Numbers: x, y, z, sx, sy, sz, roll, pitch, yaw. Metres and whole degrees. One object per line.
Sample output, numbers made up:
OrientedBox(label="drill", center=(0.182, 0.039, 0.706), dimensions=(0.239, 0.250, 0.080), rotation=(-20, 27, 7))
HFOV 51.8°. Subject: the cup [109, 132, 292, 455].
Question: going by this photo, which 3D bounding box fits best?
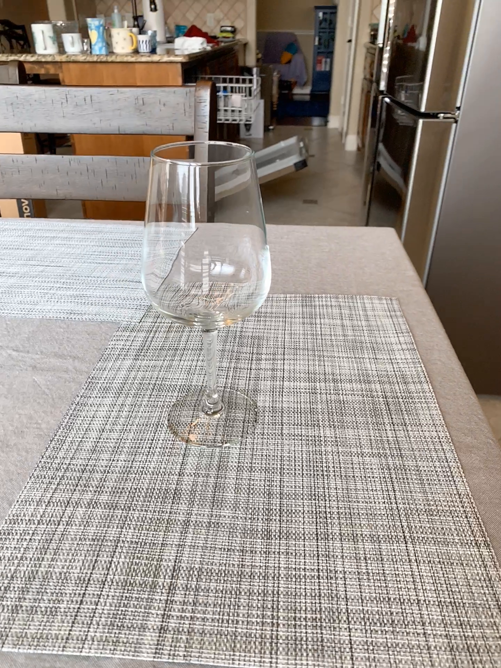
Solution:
OrientedBox(label="cup", center=(-0.026, -0.031, 0.393), dimensions=(0.100, 0.214, 0.108), rotation=(0, 30, 0))
